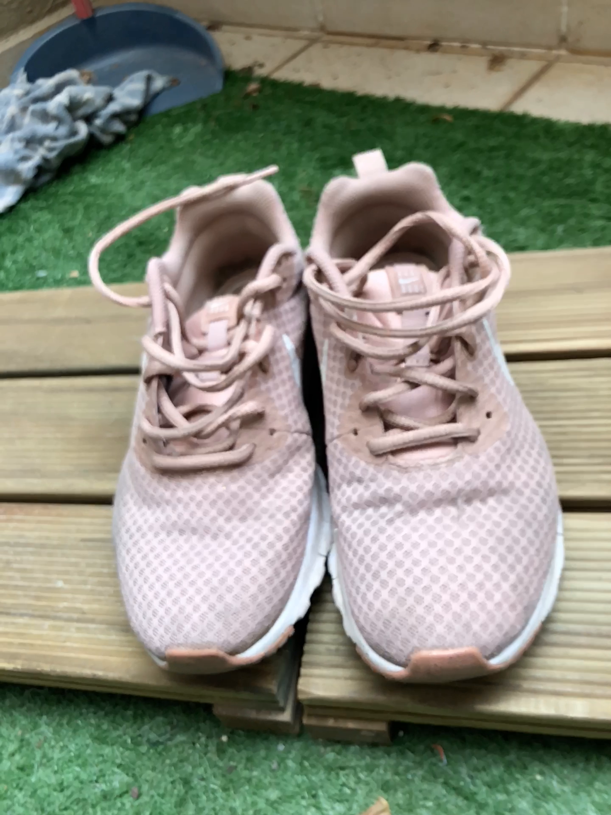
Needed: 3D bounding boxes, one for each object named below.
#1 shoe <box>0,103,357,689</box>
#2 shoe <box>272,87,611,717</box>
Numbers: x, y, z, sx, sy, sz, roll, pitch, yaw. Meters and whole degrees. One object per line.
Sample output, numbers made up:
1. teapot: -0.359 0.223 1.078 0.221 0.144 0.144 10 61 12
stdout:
1. shoe: -0.040 -0.024 0.312 0.110 0.089 0.262 -7 48 11
2. shoe: 0.056 -0.023 0.293 0.110 0.089 0.262 -8 47 10
